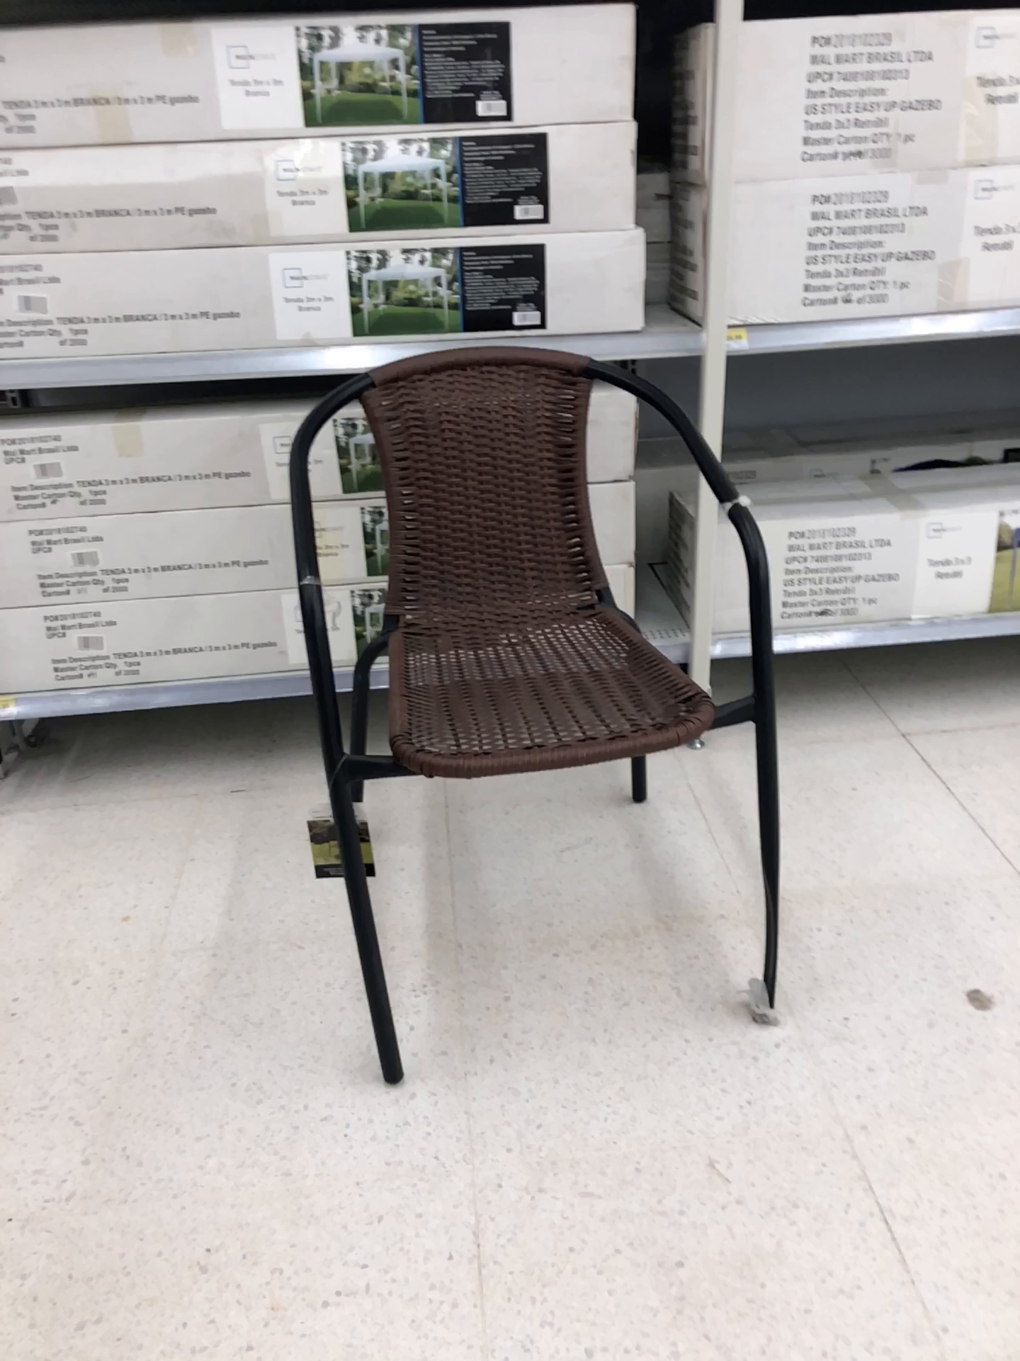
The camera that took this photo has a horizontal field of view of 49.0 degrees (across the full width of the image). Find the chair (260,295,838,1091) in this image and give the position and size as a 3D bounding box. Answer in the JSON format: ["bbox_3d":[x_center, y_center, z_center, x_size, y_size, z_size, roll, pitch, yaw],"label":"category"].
[{"bbox_3d":[0.008,-0.031,1.321,0.480,0.715,0.533,-8,26,-11],"label":"chair"}]
